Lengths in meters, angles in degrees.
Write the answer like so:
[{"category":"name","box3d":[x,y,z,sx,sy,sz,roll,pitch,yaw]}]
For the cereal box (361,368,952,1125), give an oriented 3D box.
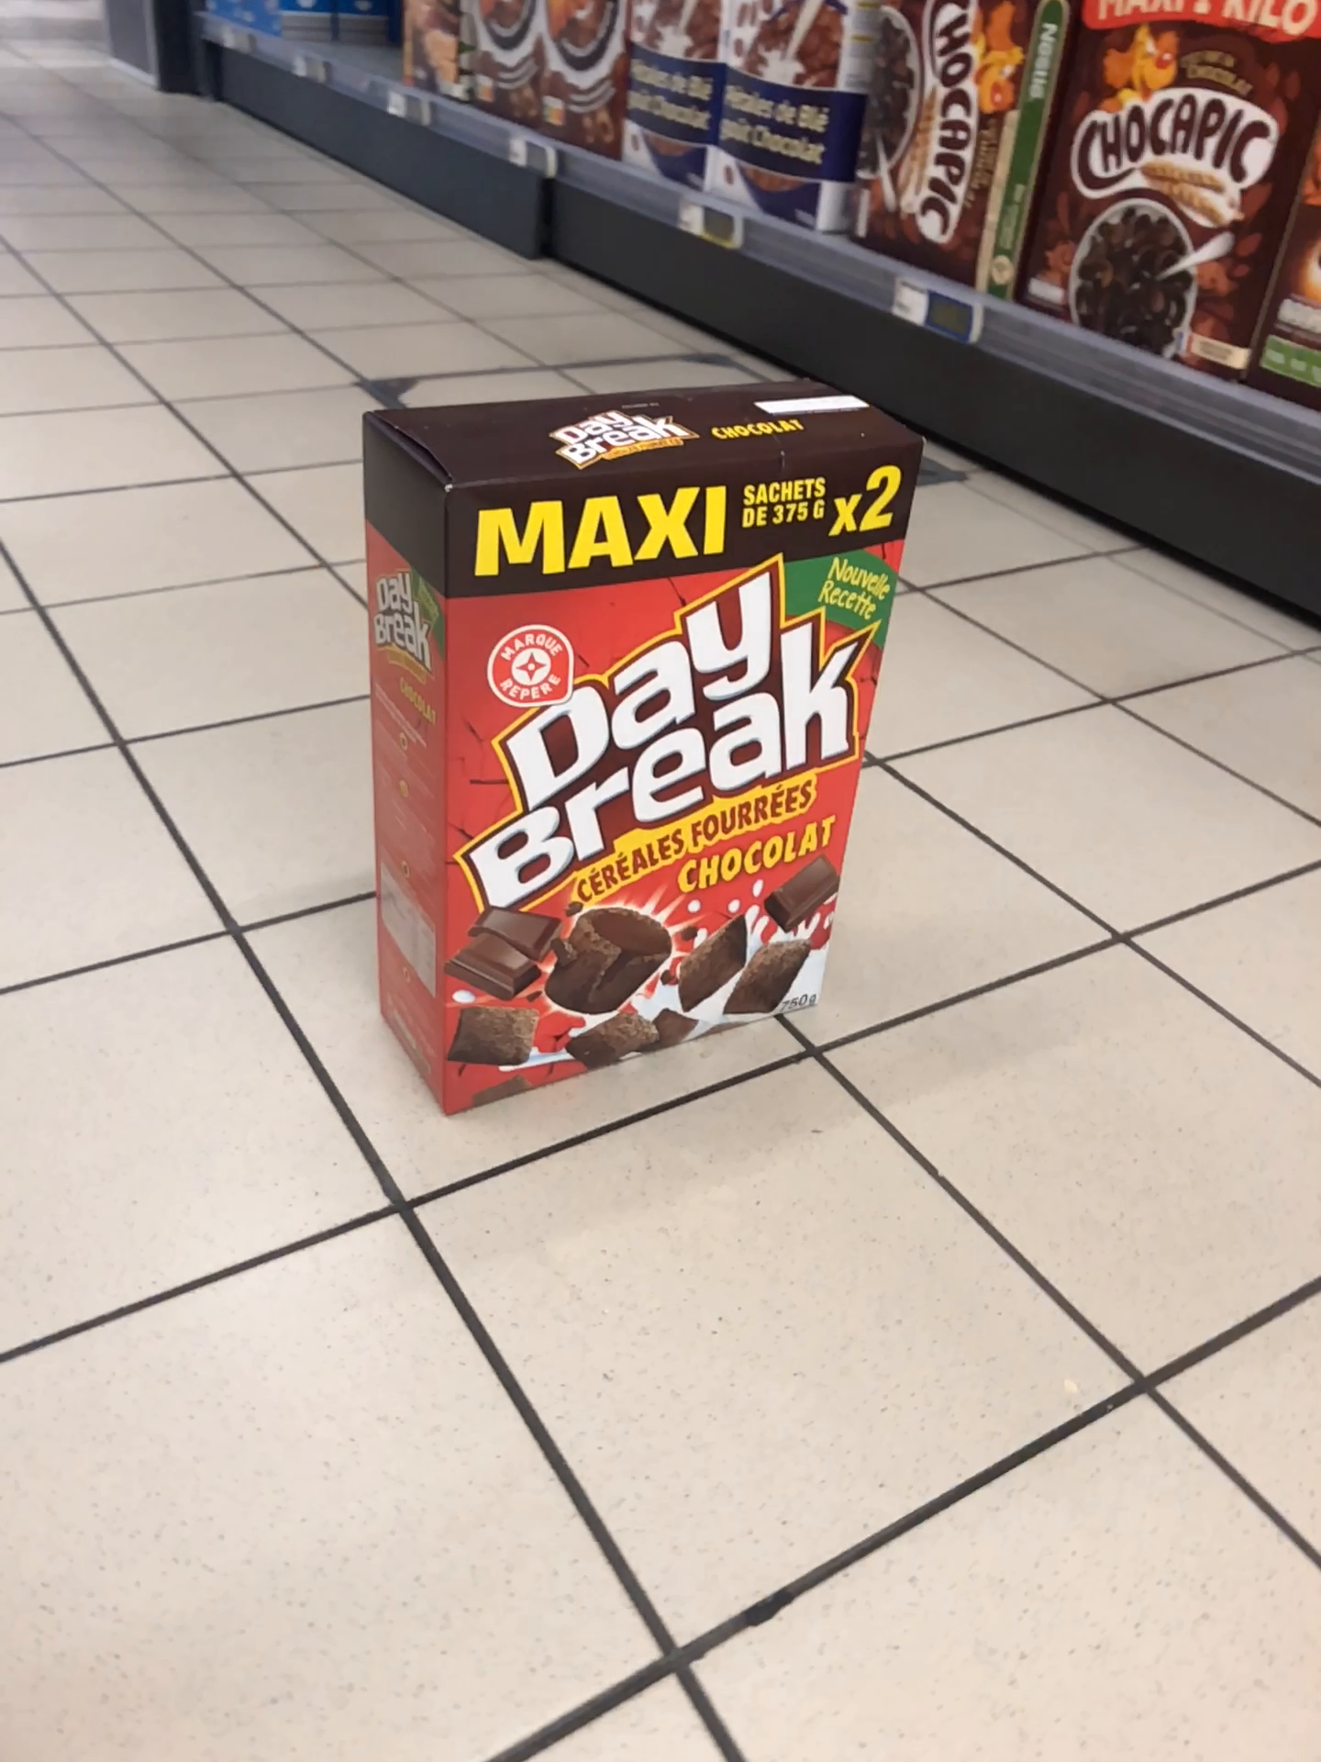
[{"category":"cereal box","box3d":[-0.010,-0.056,0.614,0.201,0.278,0.090,-13,38,-25]}]
